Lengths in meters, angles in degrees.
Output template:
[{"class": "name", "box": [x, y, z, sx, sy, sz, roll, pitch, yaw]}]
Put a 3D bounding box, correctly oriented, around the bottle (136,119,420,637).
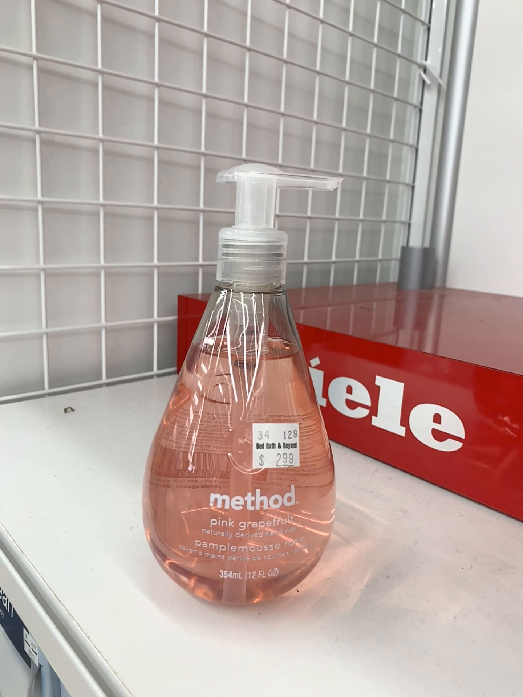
[{"class": "bottle", "box": [-0.003, 0.009, 0.206, 0.080, 0.160, 0.078, 3, 12, -1]}]
